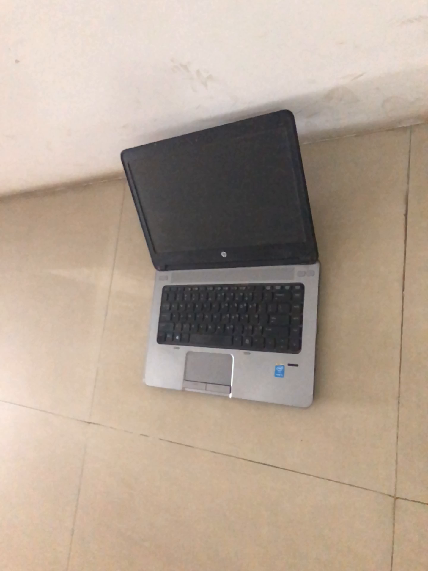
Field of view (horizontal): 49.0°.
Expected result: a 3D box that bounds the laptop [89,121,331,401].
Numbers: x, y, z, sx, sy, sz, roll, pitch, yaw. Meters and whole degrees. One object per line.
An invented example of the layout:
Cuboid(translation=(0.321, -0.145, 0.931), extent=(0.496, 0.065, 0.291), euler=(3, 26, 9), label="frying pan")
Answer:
Cuboid(translation=(-0.004, -0.029, 0.770), extent=(0.319, 0.146, 0.385), euler=(0, 76, 34), label="laptop")
